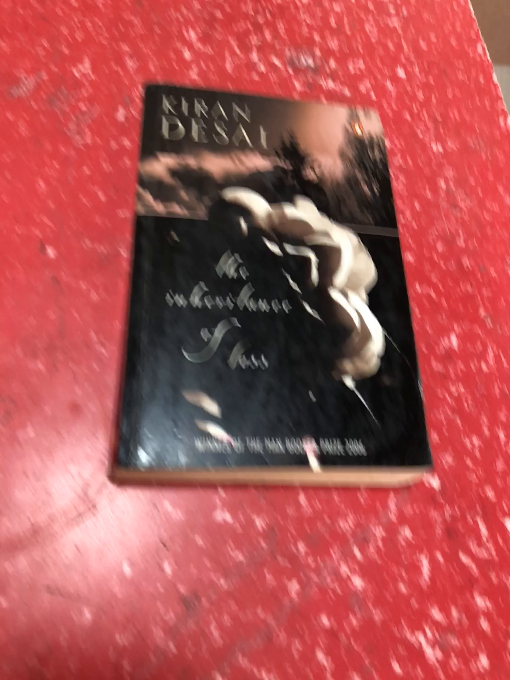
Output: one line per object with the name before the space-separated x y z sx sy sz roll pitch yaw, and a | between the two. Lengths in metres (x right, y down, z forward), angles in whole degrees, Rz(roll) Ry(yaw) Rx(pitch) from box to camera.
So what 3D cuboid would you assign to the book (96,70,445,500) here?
book | 0.001 -0.026 0.272 0.130 0.060 0.190 3 66 -11
